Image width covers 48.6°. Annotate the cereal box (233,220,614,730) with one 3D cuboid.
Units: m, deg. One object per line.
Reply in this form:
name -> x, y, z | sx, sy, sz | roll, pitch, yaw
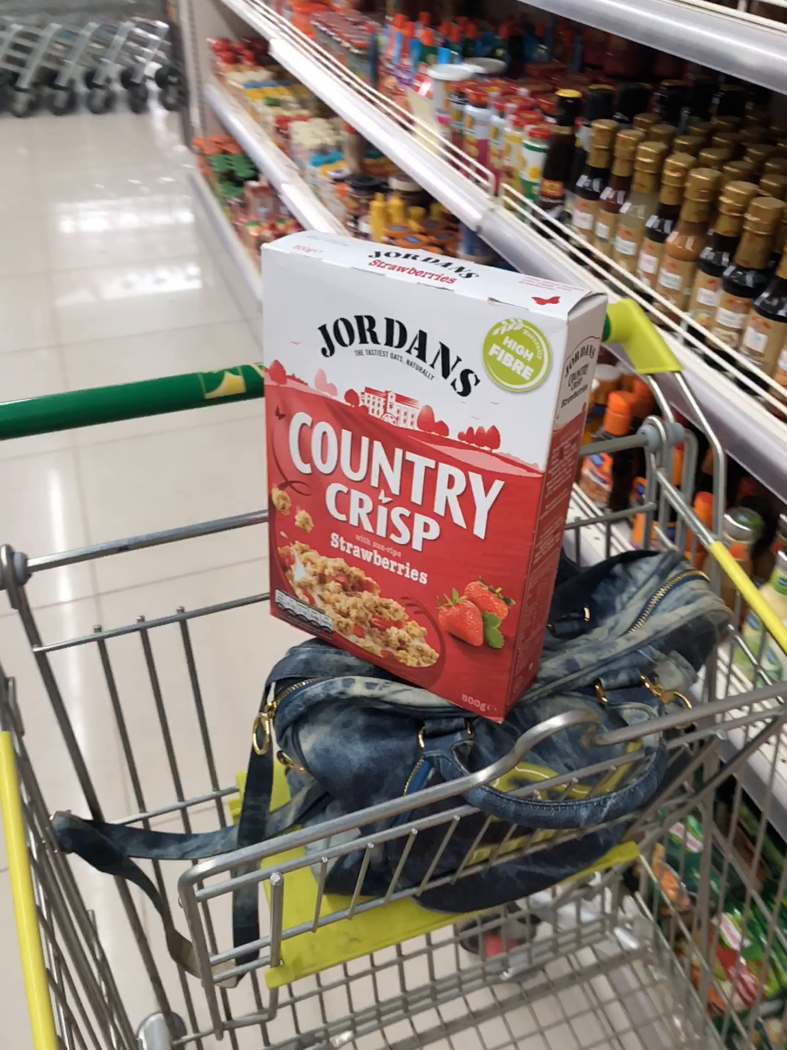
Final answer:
cereal box -> 0.004, -0.027, 0.511 | 0.190, 0.249, 0.060 | 22, 37, 25
